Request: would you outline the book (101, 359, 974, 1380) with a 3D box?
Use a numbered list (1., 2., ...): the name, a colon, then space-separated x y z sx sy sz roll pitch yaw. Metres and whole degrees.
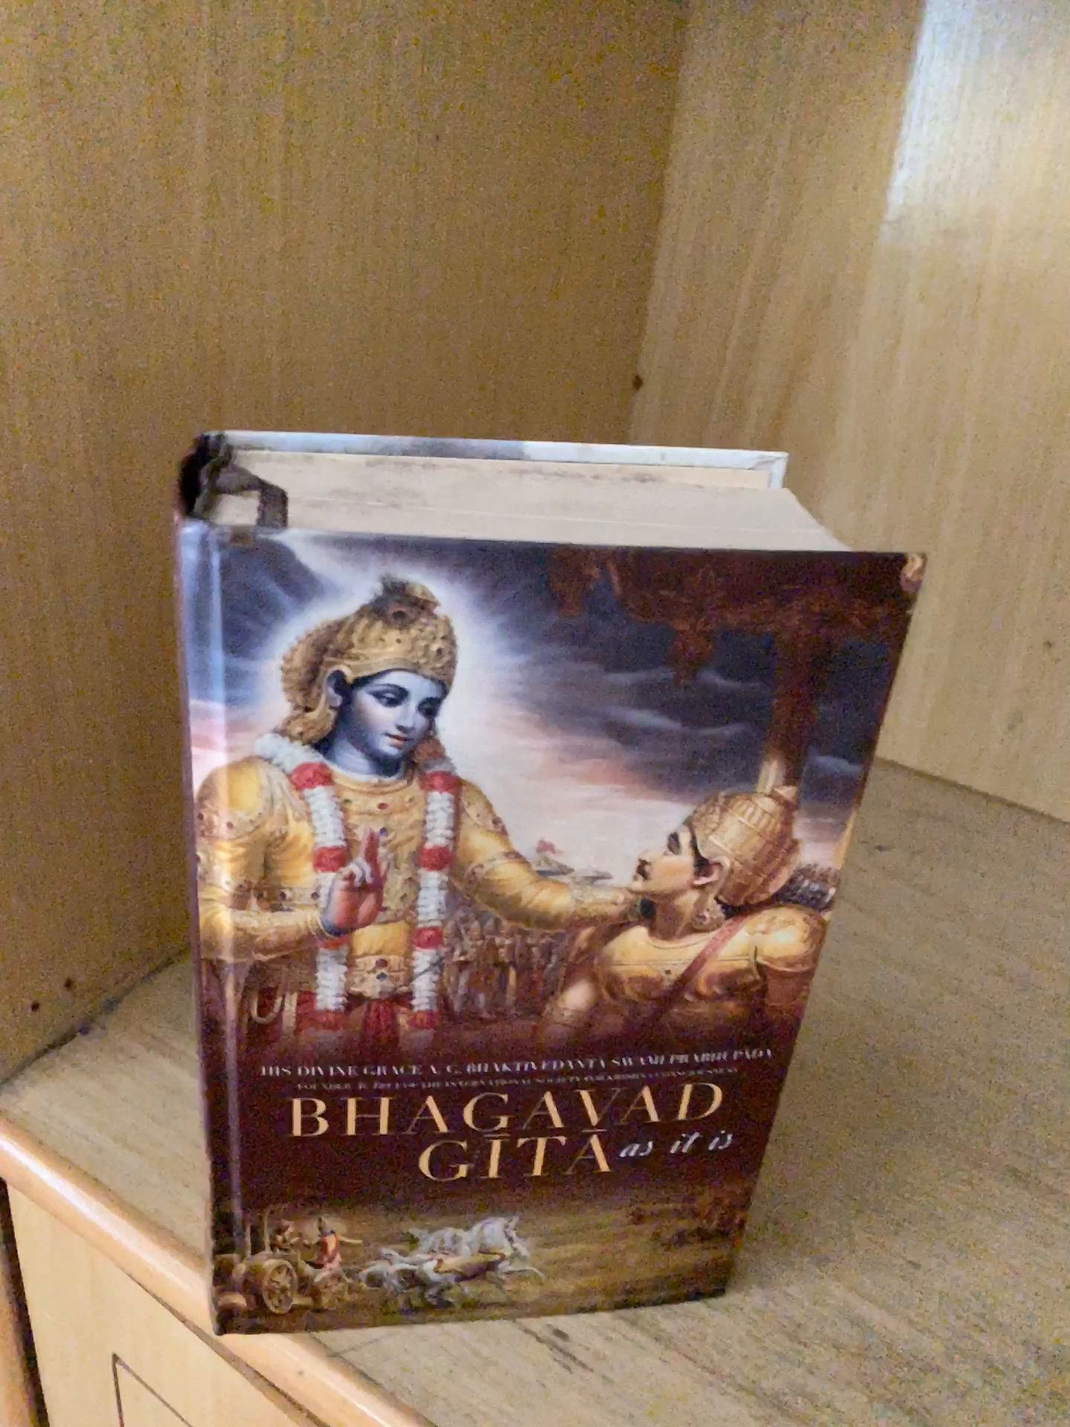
1. book: -0.010 0.043 0.254 0.140 0.218 0.071 1 26 -9
